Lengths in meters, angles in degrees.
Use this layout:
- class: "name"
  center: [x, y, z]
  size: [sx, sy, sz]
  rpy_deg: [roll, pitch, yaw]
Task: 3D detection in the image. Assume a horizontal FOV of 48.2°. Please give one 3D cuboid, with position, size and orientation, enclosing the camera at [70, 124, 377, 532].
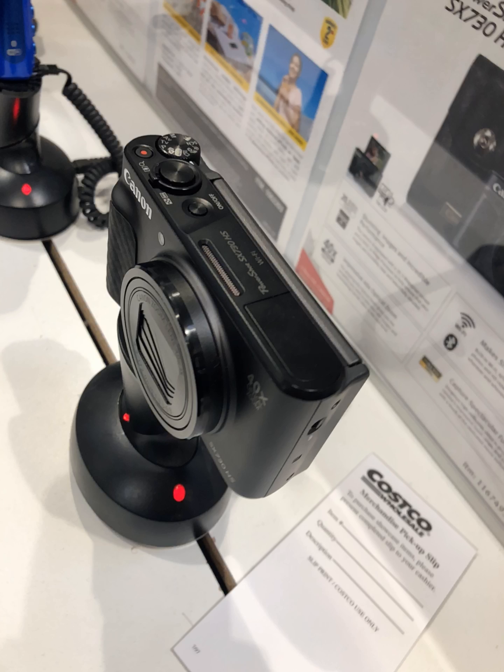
- class: "camera"
  center: [-0.019, -0.008, 0.177]
  size: [0.040, 0.060, 0.110]
  rpy_deg: [-16, 56, -27]
